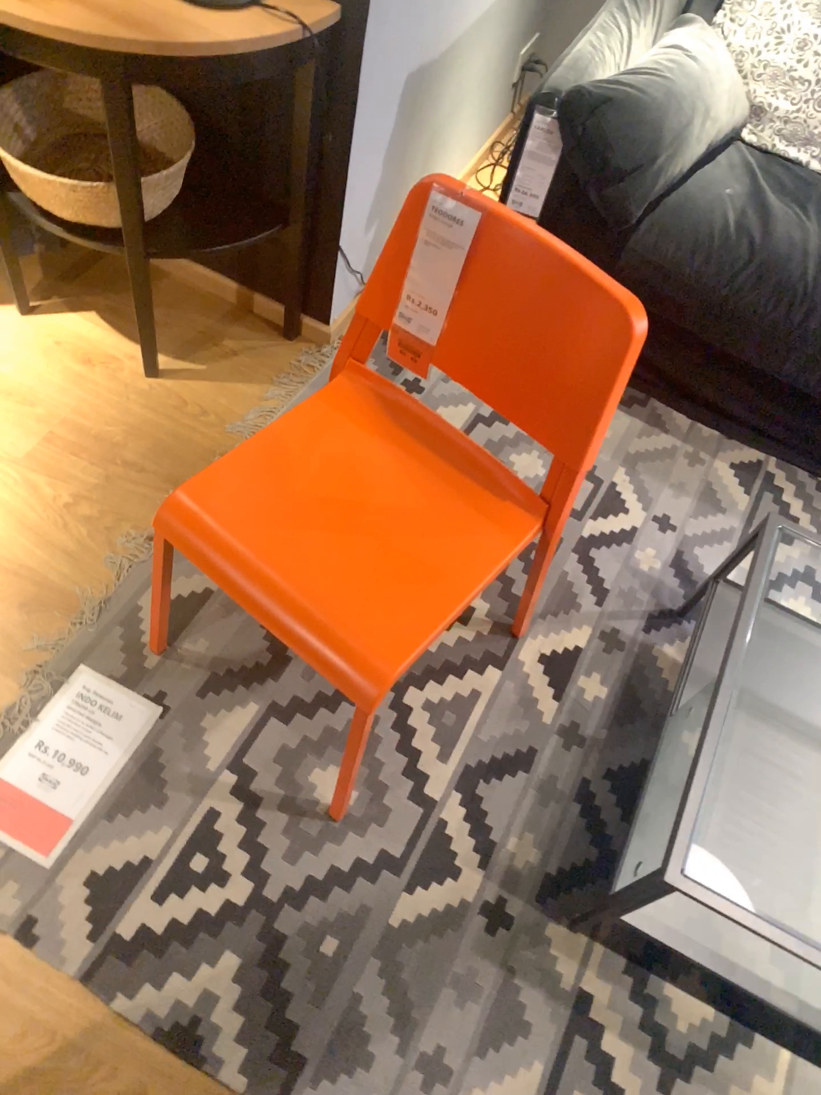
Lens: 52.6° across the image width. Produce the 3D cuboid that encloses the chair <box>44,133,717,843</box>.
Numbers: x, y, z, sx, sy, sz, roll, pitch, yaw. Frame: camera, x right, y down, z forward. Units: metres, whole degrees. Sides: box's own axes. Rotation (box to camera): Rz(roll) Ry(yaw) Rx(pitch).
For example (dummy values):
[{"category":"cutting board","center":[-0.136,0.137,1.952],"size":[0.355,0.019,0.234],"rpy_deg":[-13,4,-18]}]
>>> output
[{"category":"chair","center":[-0.061,-0.052,1.242],"size":[0.520,0.728,0.581],"rpy_deg":[38,58,14]}]
